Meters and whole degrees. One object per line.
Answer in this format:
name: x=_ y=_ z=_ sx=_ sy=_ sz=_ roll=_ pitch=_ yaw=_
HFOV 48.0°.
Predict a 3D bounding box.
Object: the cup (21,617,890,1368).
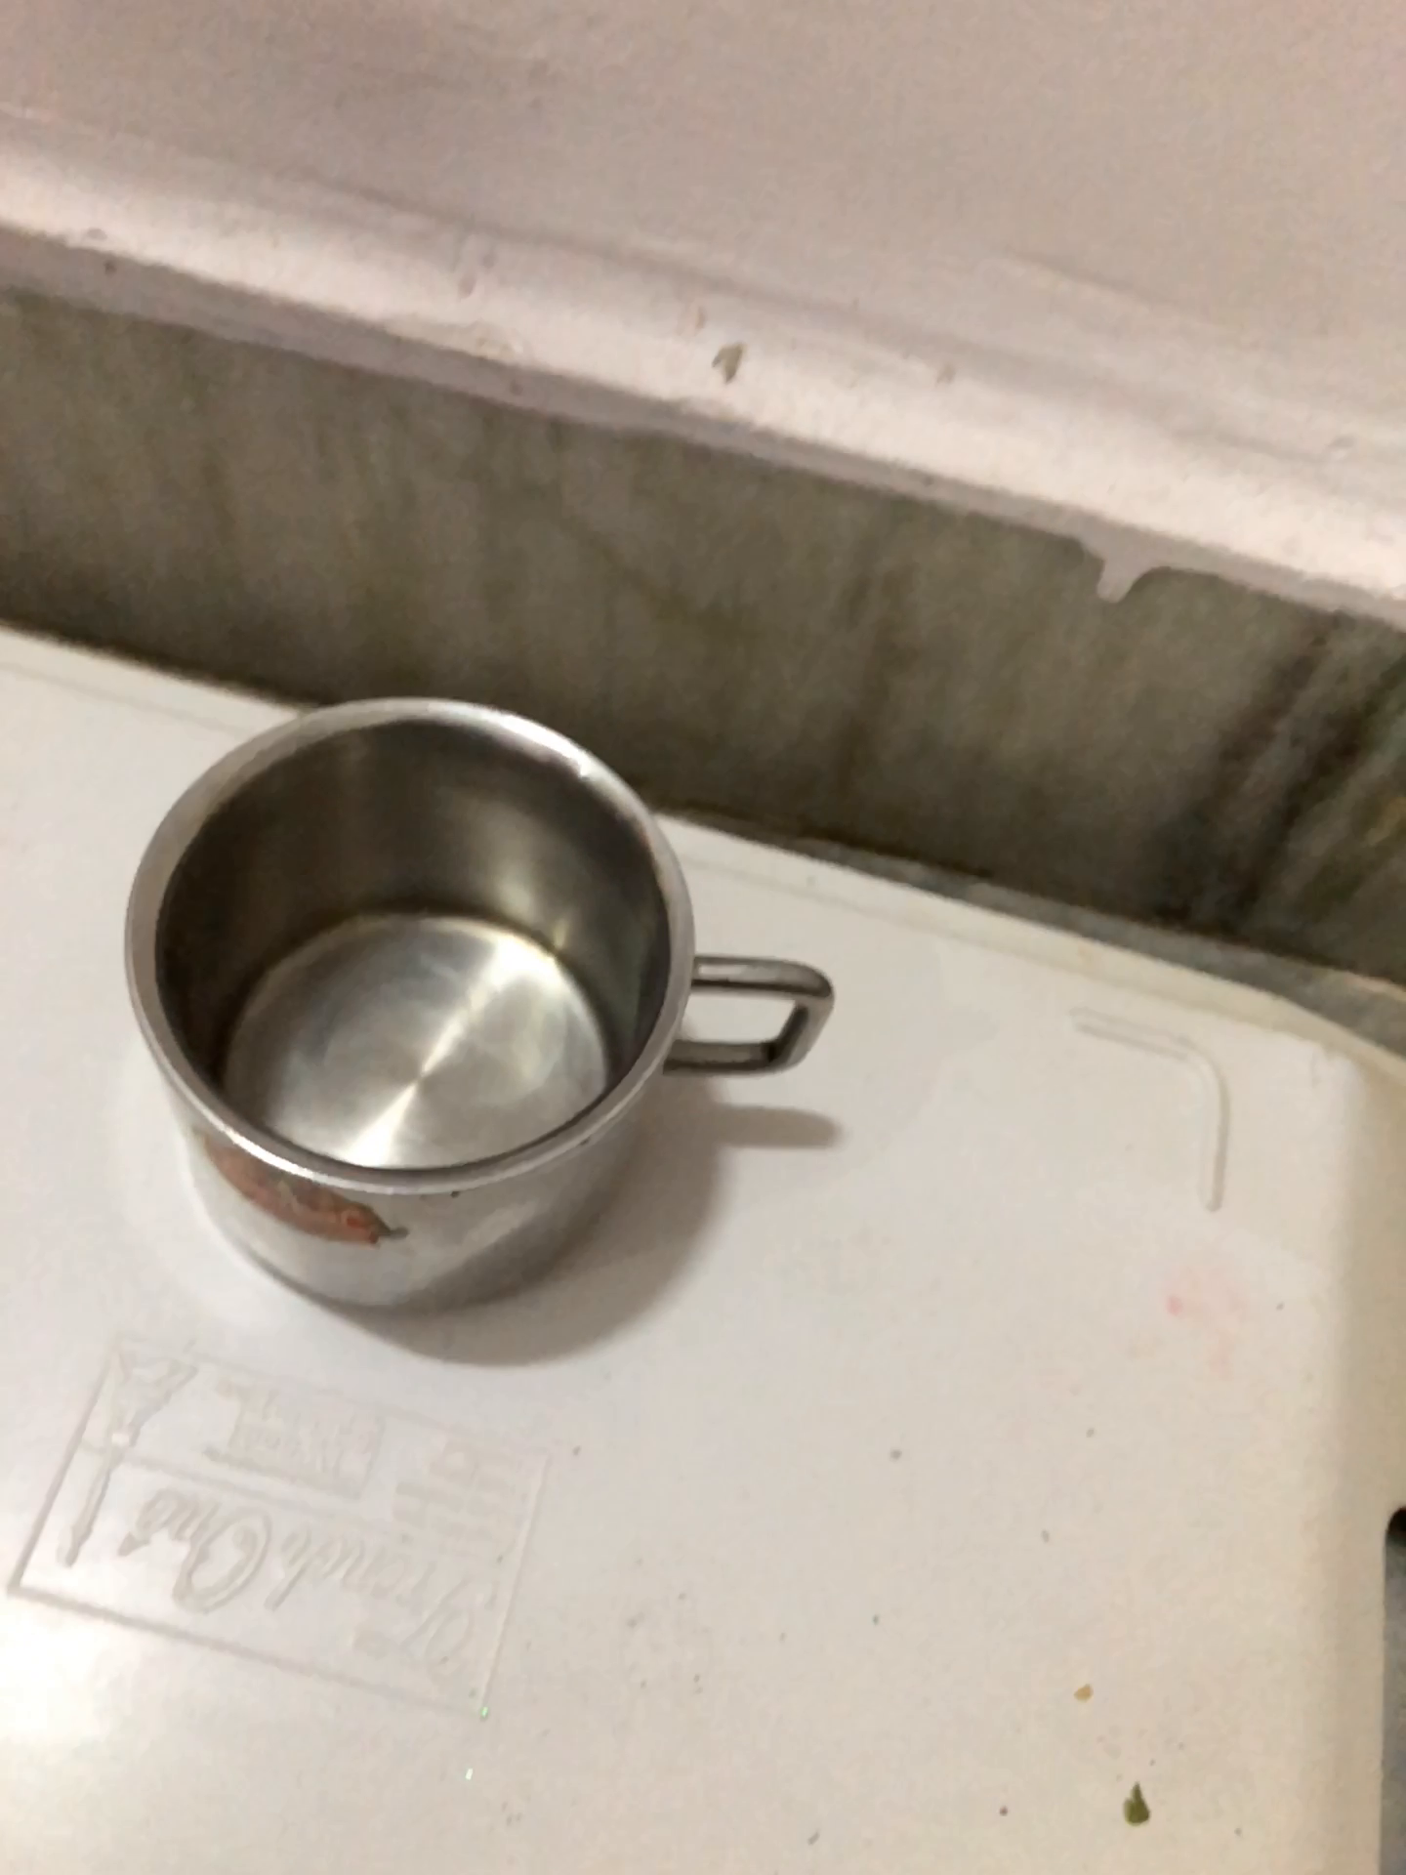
cup: x=-0.029 y=0.009 z=0.225 sx=0.100 sy=0.050 sz=0.080 roll=8 pitch=59 yaw=-6
